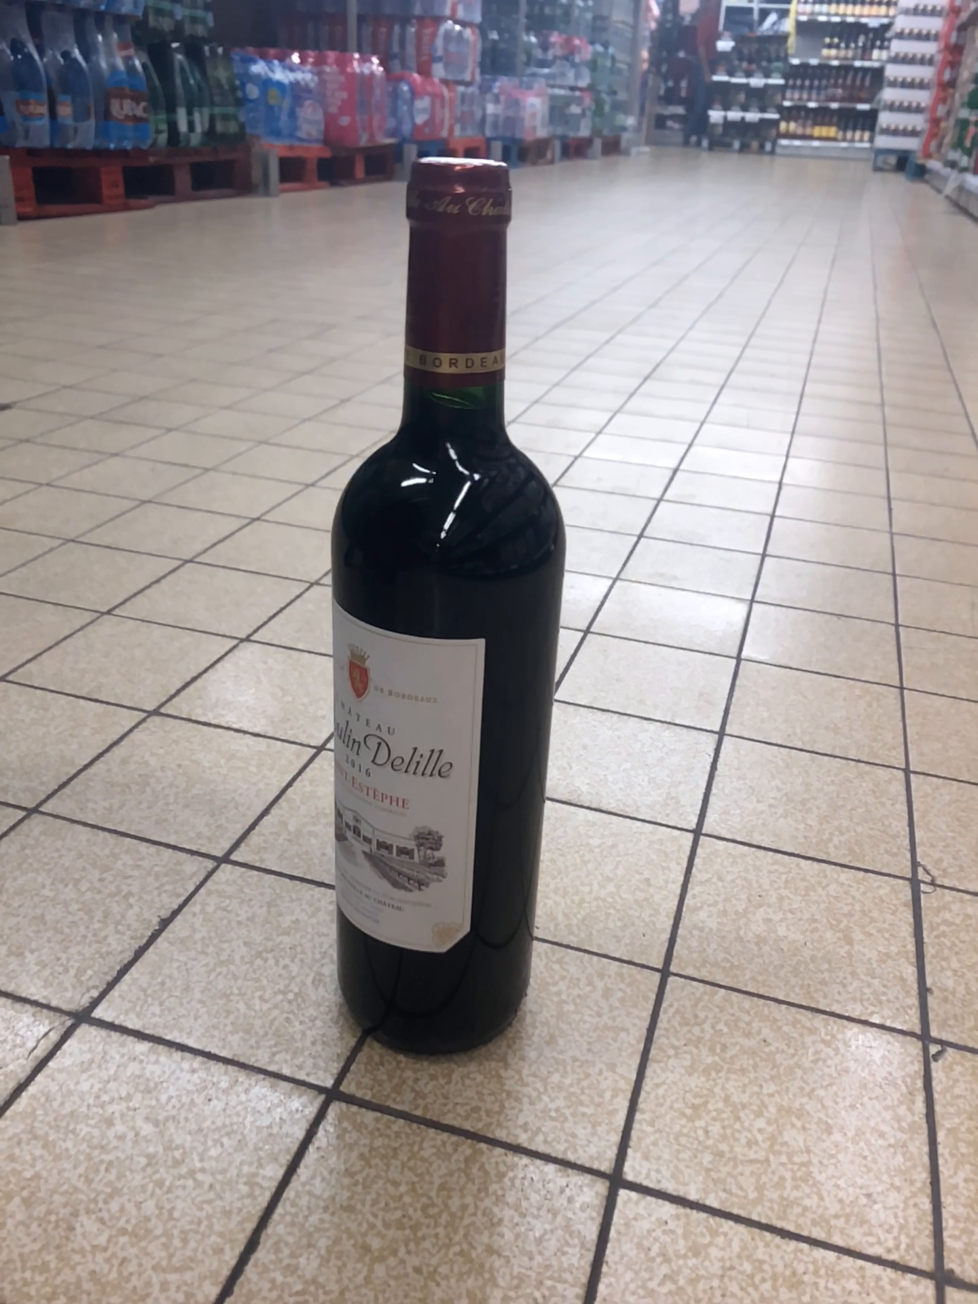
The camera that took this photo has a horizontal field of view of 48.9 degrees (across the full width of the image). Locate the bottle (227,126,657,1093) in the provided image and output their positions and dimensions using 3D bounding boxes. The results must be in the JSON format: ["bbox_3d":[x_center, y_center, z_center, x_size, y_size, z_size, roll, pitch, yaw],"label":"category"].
[{"bbox_3d":[-0.020,-0.008,0.342,0.080,0.281,0.080,3,25,-1],"label":"bottle"}]
